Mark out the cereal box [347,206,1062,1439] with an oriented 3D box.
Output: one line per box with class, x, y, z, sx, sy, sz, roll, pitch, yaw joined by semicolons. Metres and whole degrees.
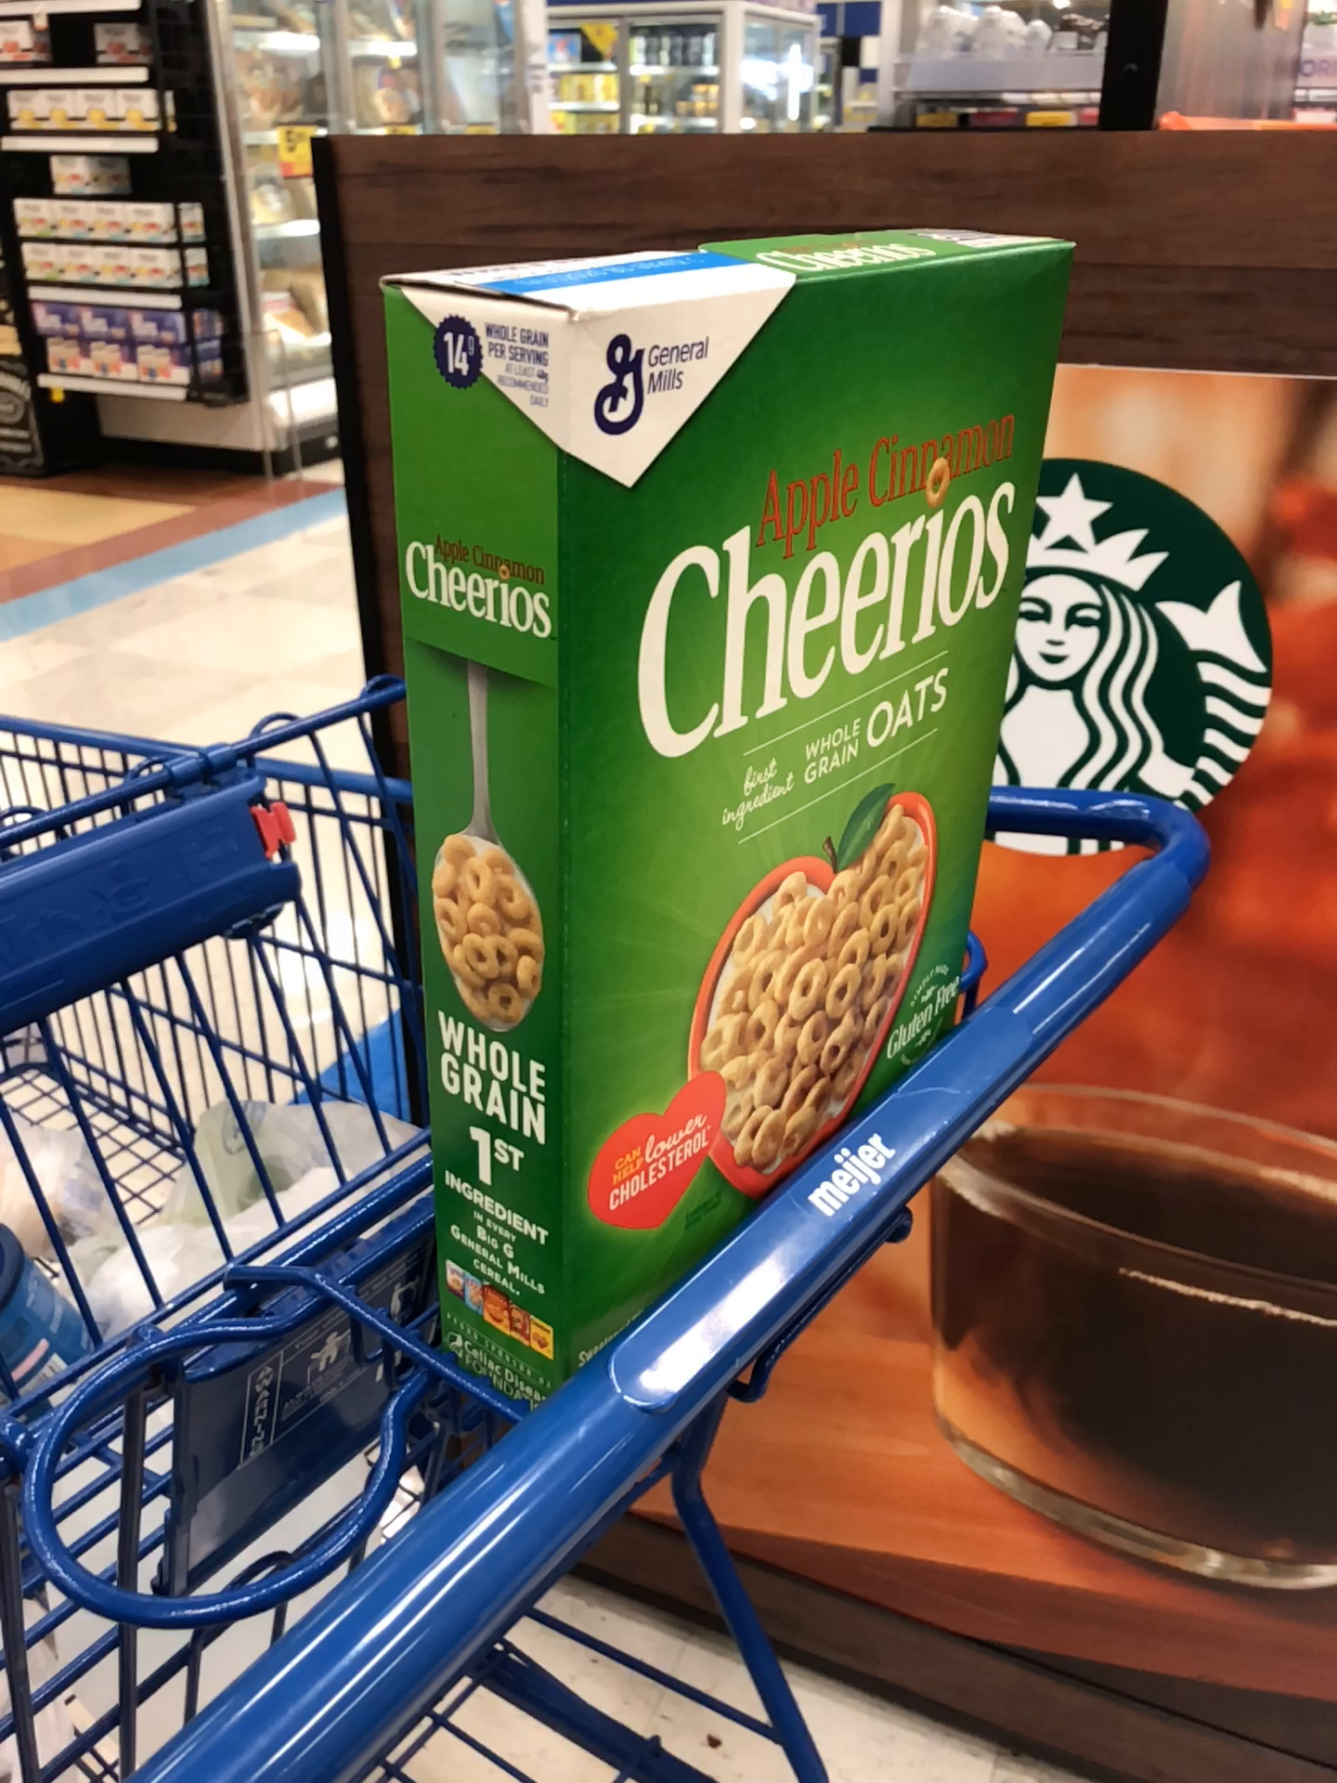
cereal box;0.020;-0.030;0.394;0.050;0.269;0.210;20;33;30
